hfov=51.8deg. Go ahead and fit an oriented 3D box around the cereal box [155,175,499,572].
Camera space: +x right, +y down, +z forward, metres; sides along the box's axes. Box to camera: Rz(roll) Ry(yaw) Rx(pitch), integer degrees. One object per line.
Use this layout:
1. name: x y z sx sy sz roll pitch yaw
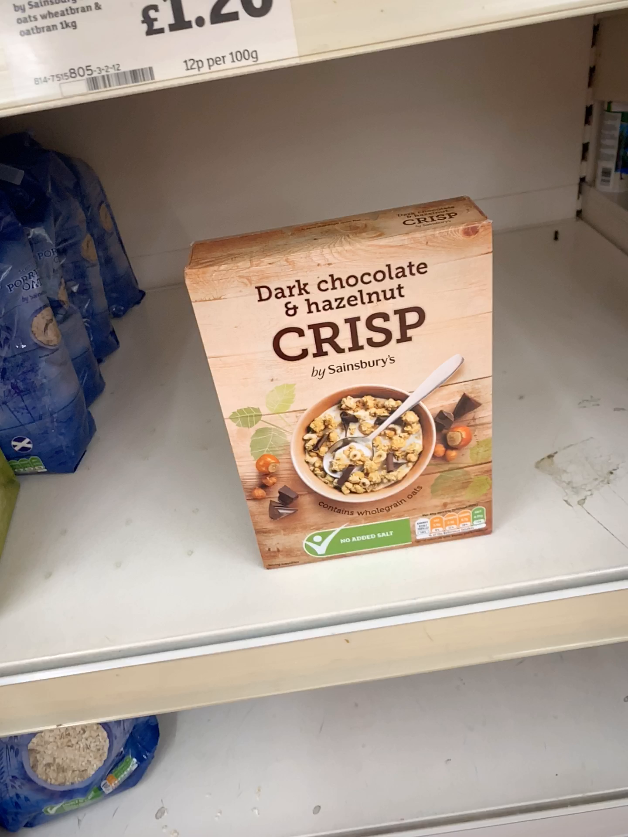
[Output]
1. cereal box: 0.022 -0.018 0.446 0.190 0.248 0.061 -9 33 1
